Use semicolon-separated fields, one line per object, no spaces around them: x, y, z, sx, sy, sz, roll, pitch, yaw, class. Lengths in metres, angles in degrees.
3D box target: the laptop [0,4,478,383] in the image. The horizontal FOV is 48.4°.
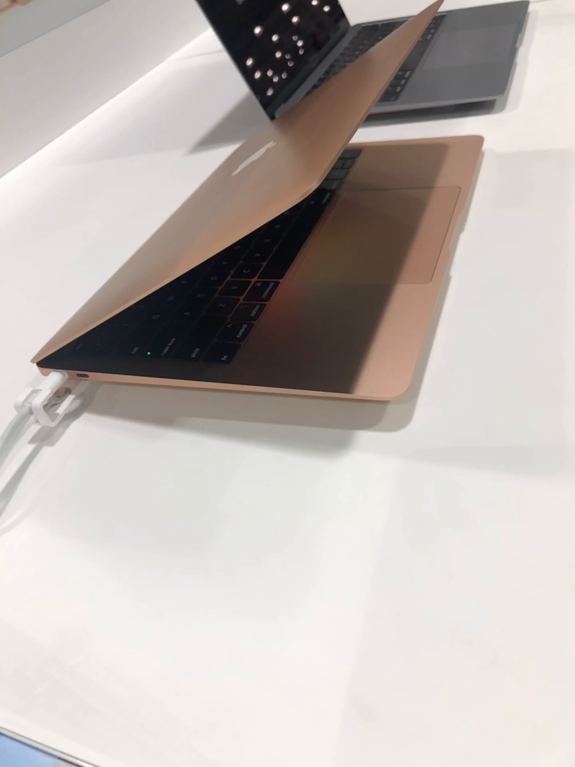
-0.009;-0.132;0.394;0.209;0.091;0.286;3;41;22;laptop
